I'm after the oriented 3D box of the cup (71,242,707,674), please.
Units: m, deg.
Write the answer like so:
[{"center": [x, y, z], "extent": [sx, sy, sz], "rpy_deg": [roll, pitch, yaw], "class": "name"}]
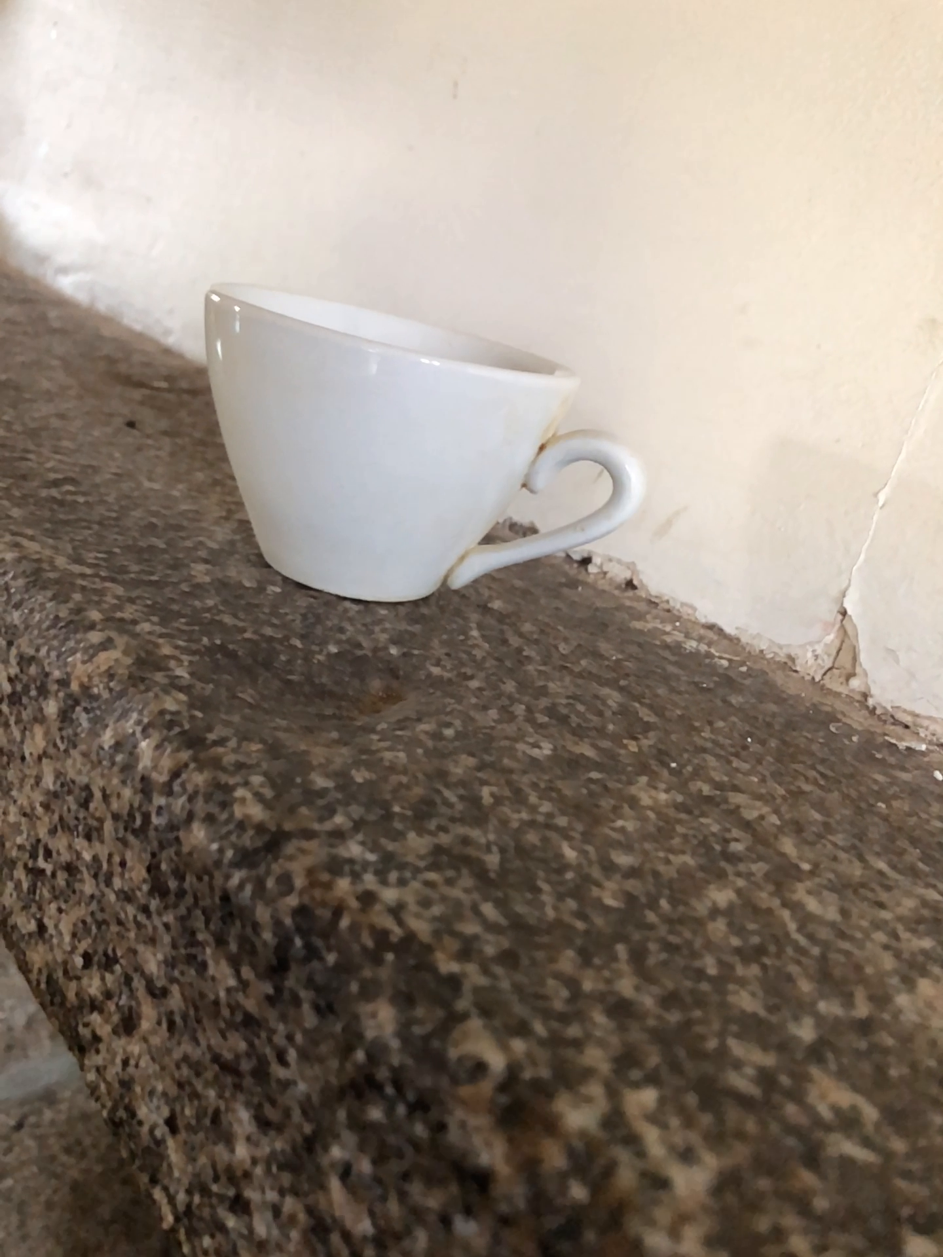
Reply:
[{"center": [-0.013, -0.040, 0.220], "extent": [0.100, 0.050, 0.080], "rpy_deg": [19, 19, 16], "class": "cup"}]
